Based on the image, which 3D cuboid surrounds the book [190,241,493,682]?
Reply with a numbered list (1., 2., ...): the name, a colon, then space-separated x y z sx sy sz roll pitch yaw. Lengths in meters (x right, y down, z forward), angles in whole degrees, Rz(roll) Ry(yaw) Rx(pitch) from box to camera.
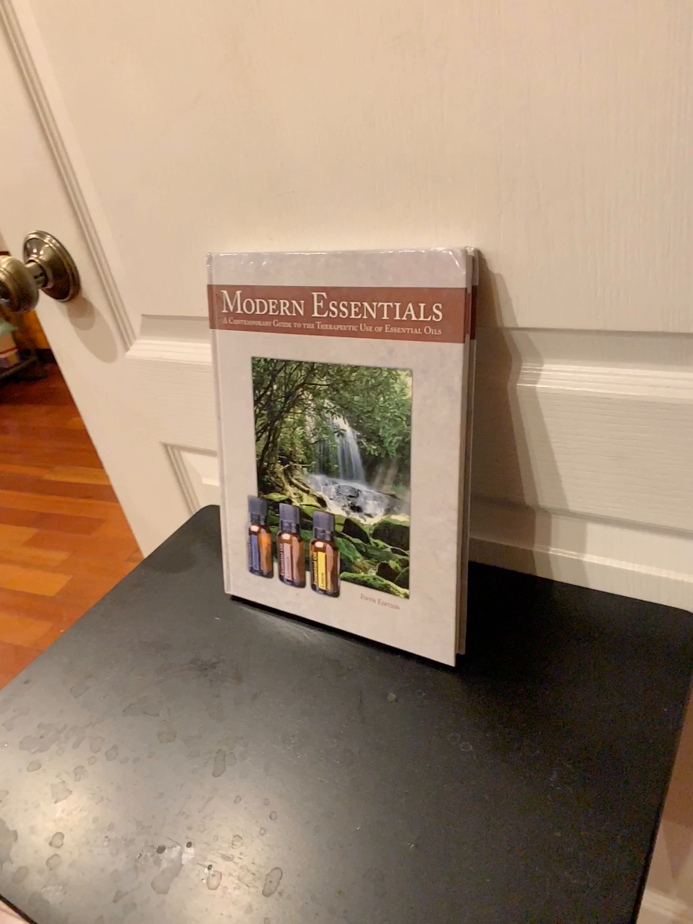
1. book: -0.011 -0.008 0.524 0.231 0.289 0.030 9 19 33
